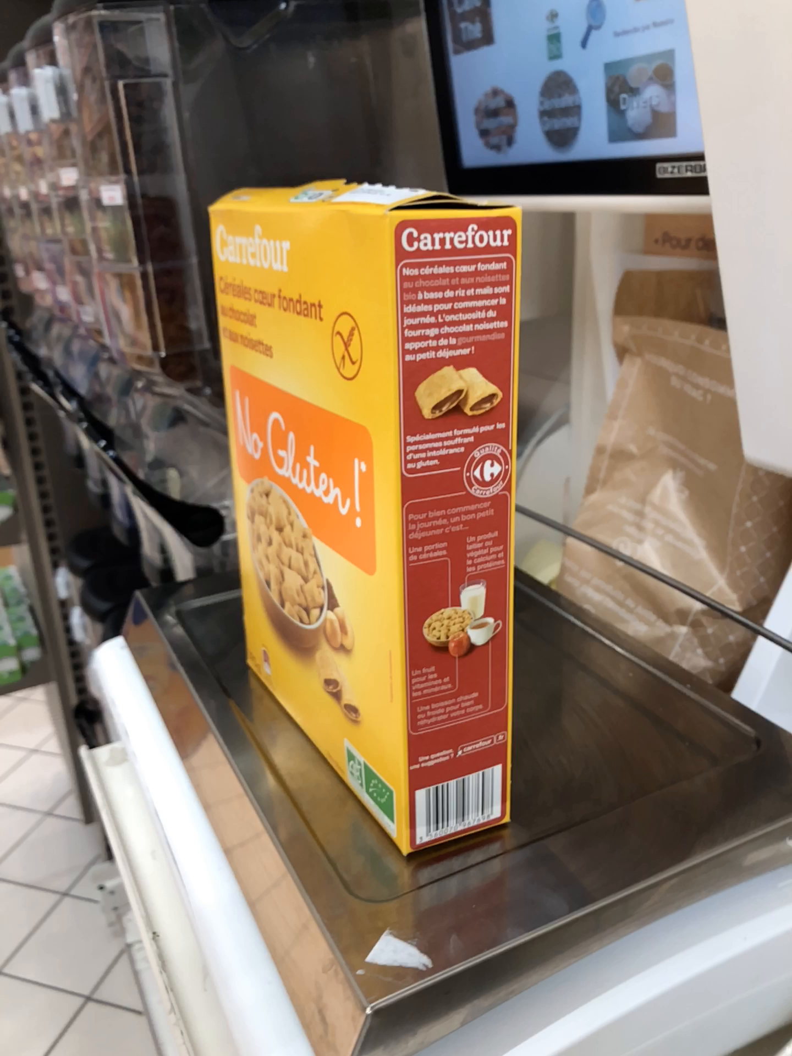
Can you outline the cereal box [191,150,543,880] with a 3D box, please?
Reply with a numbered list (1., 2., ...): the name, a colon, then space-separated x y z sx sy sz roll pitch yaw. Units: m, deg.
1. cereal box: -0.024 -0.022 0.401 0.060 0.269 0.200 -11 23 -26
